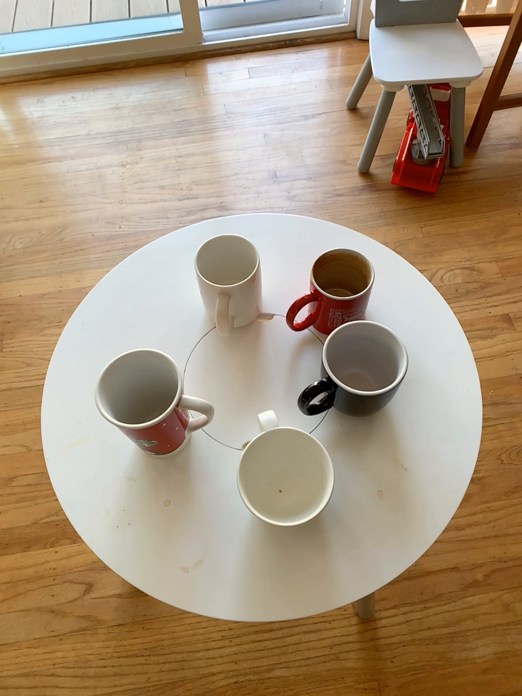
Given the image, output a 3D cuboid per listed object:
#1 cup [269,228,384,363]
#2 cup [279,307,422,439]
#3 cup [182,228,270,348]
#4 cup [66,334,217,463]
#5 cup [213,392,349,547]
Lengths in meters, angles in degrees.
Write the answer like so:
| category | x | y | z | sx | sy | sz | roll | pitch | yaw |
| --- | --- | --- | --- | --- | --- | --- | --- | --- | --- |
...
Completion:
| category | x | y | z | sx | sy | sz | roll | pitch | yaw |
| --- | --- | --- | --- | --- | --- | --- | --- | --- | --- |
| cup | 0.081 | -0.067 | 0.693 | 0.080 | 0.100 | 0.120 | 41 | 70 | 20 |
| cup | 0.098 | 0.030 | 0.627 | 0.130 | 0.080 | 0.100 | -15 | 62 | -6 |
| cup | -0.041 | -0.075 | 0.683 | 0.100 | 0.090 | 0.120 | -2 | 62 | 1 |
| cup | -0.127 | 0.061 | 0.612 | 0.130 | 0.130 | 0.100 | 2 | 62 | 3 |
| cup | 0.019 | 0.132 | 0.588 | 0.110 | 0.060 | 0.130 | -15 | 62 | -6 |
